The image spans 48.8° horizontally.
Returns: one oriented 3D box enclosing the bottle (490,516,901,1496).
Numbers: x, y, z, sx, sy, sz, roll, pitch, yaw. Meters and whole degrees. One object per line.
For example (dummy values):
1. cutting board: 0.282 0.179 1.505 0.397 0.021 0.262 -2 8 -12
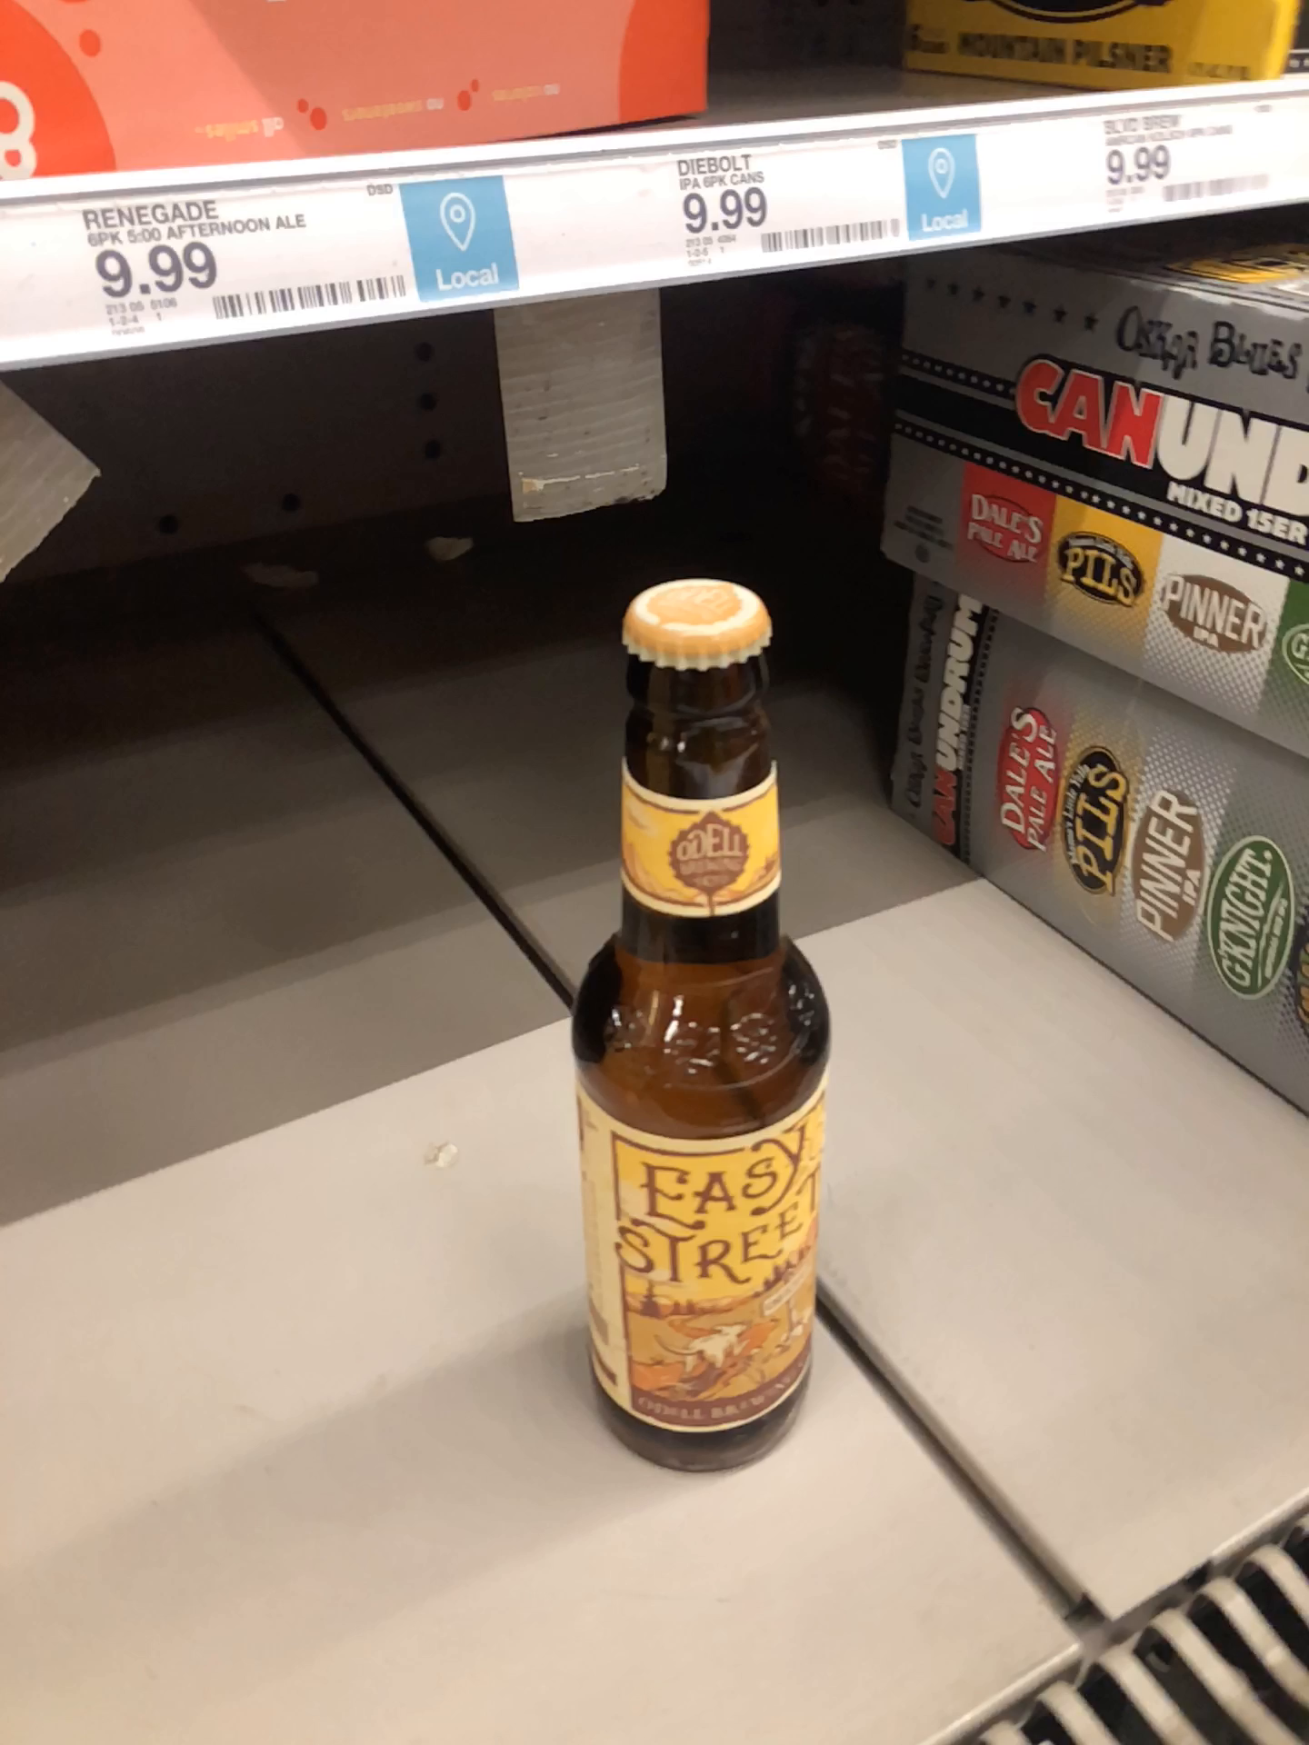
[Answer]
1. bottle: 0.006 0.041 0.343 0.066 0.229 0.070 -1 33 0
